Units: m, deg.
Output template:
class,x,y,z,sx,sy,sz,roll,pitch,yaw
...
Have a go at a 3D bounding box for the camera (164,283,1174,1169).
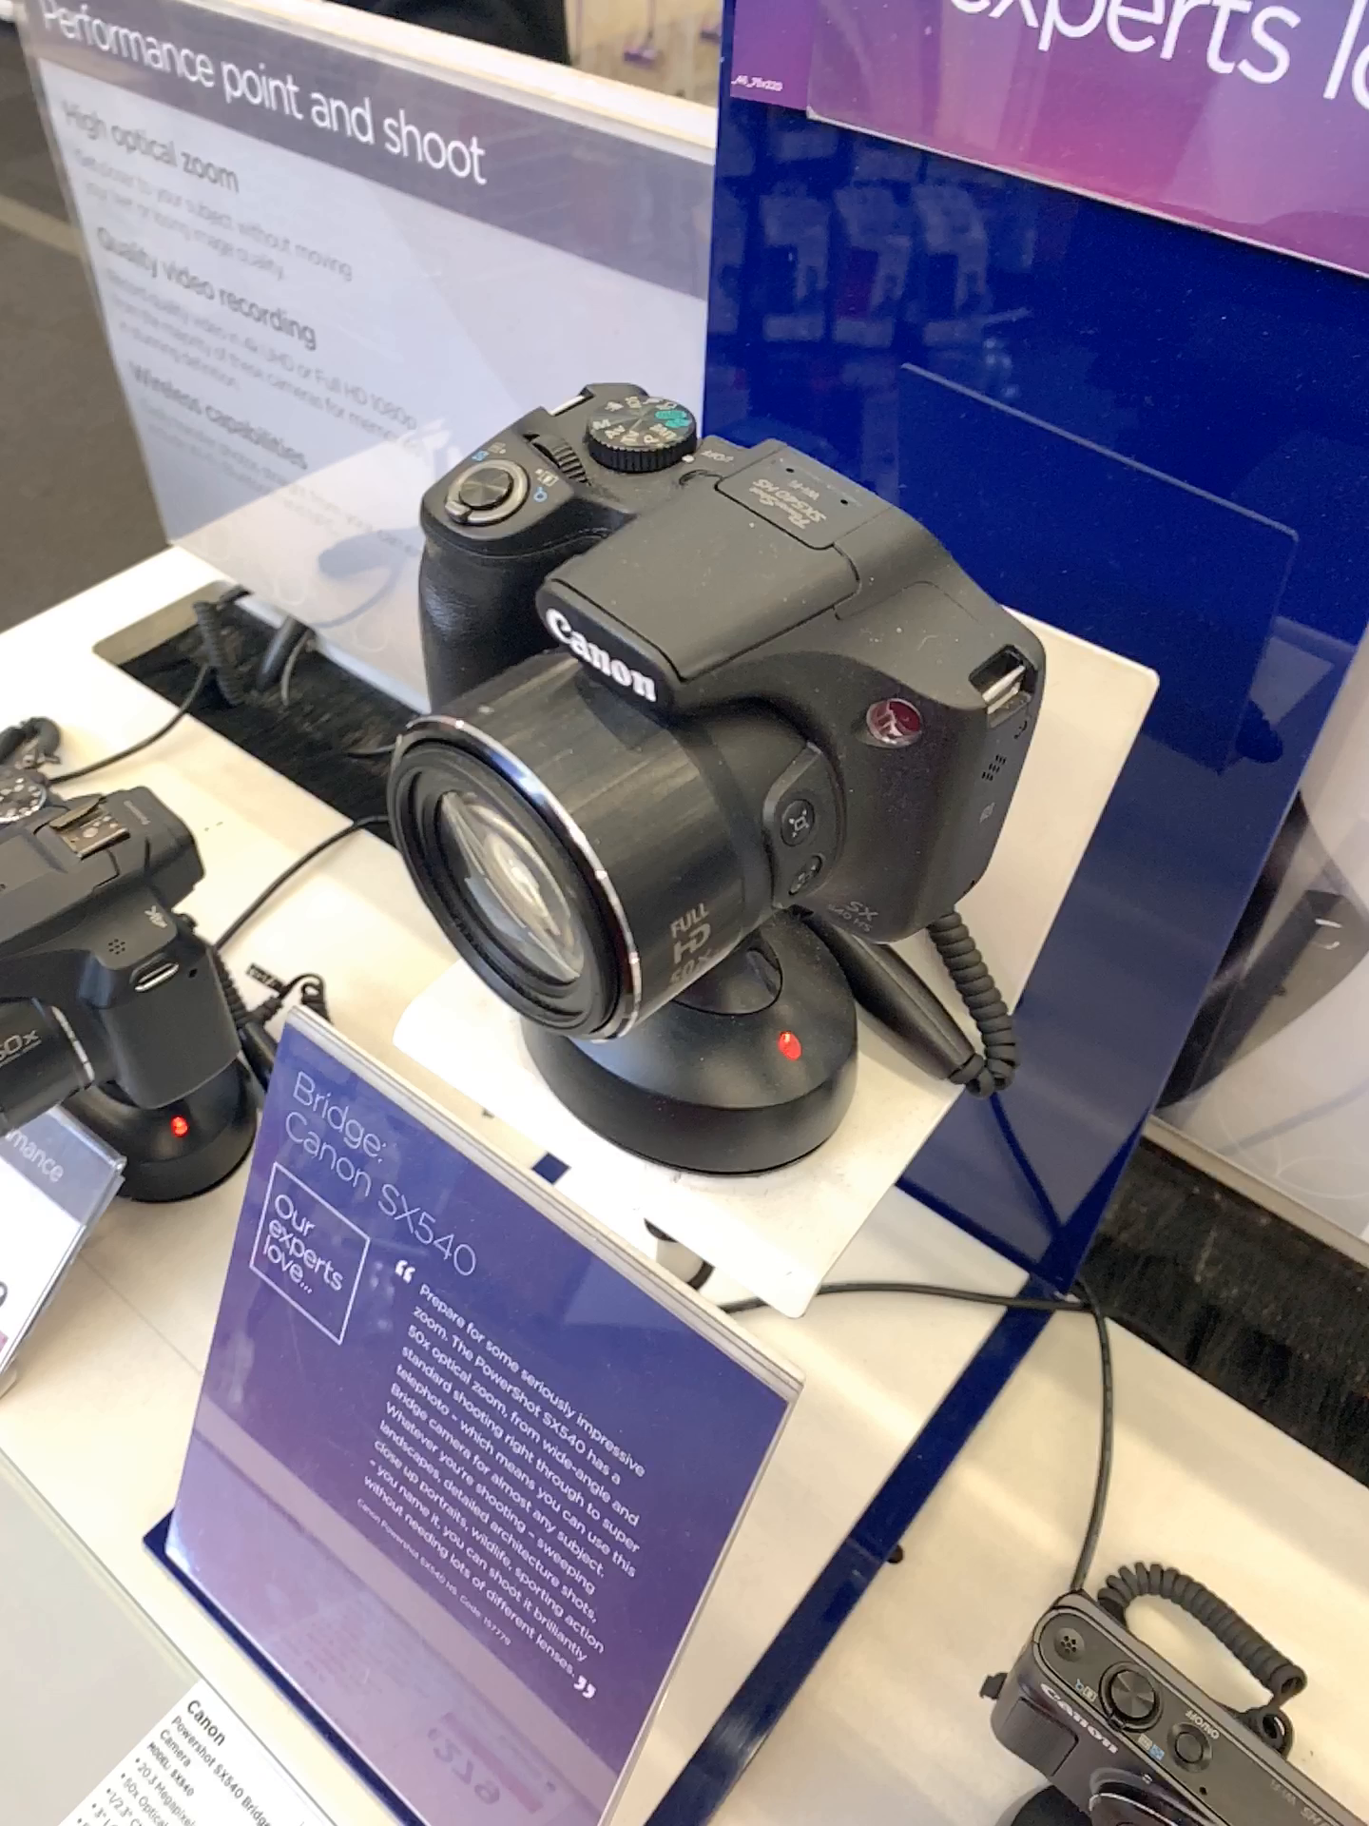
class,x,y,z,sx,sy,sz,roll,pitch,yaw
camera,-0.004,-0.043,0.252,0.111,0.069,0.121,-35,56,-30
